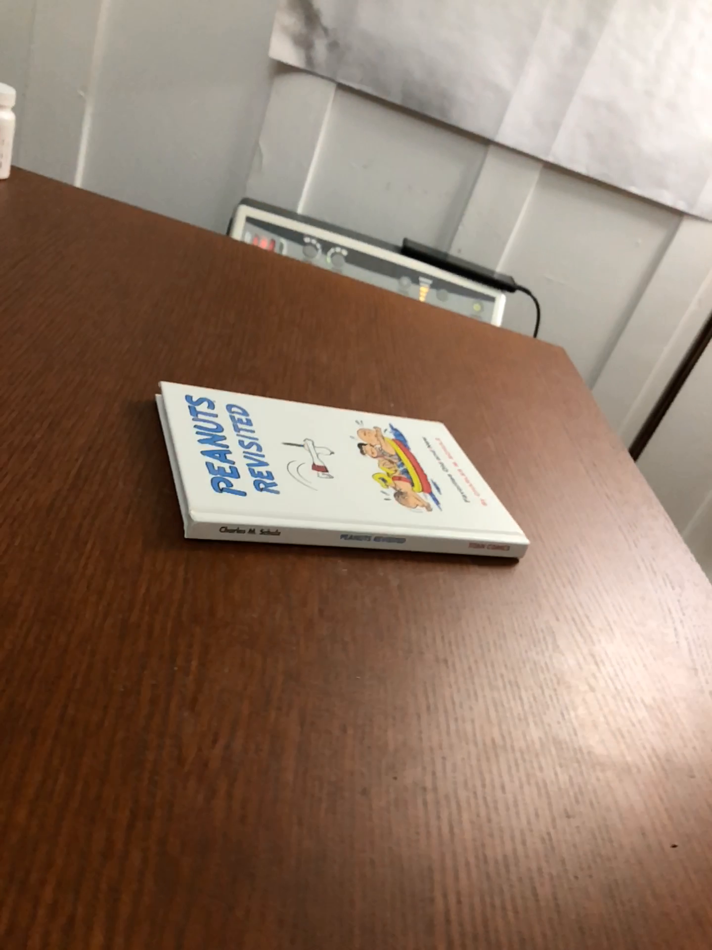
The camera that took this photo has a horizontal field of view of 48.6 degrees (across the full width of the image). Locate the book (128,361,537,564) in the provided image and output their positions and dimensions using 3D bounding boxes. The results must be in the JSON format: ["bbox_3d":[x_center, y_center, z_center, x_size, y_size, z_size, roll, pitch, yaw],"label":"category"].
[{"bbox_3d":[-0.018,-0.008,0.479,0.220,0.020,0.151,6,33,-26],"label":"book"}]
